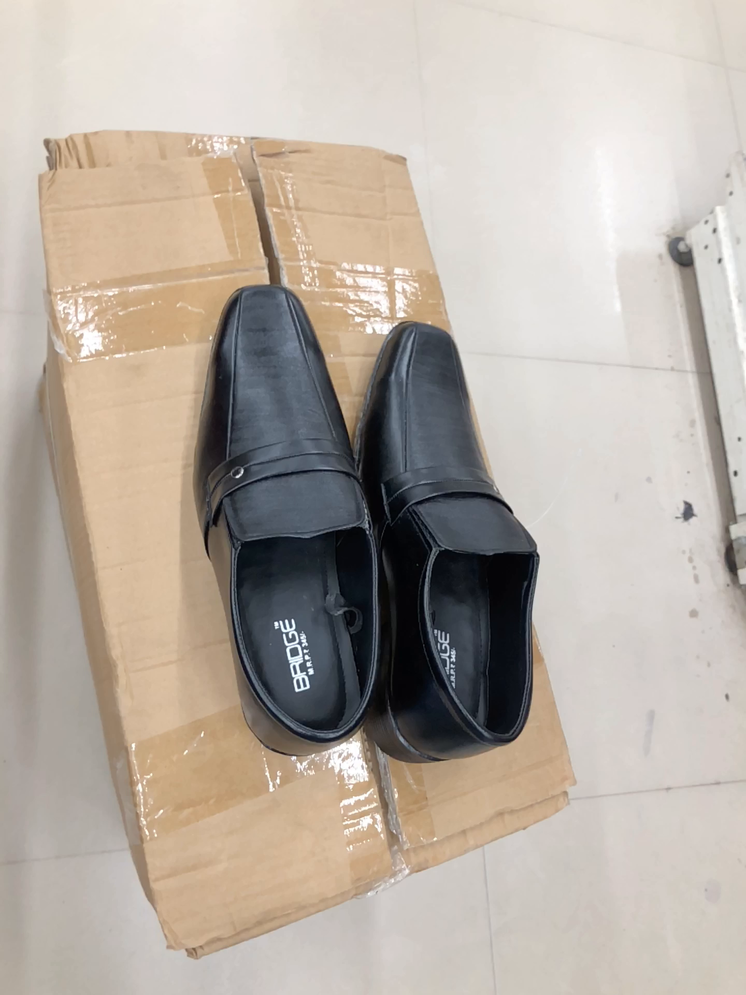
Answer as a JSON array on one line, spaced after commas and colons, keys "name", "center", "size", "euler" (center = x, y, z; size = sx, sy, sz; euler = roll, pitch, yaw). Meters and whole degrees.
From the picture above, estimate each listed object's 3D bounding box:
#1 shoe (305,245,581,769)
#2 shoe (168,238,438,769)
[{"name": "shoe", "center": [0.036, 0.012, 0.553], "size": [0.100, 0.129, 0.310], "euler": [4, 74, -31]}, {"name": "shoe", "center": [-0.055, 0.005, 0.513], "size": [0.100, 0.130, 0.290], "euler": [-5, 77, -20]}]
